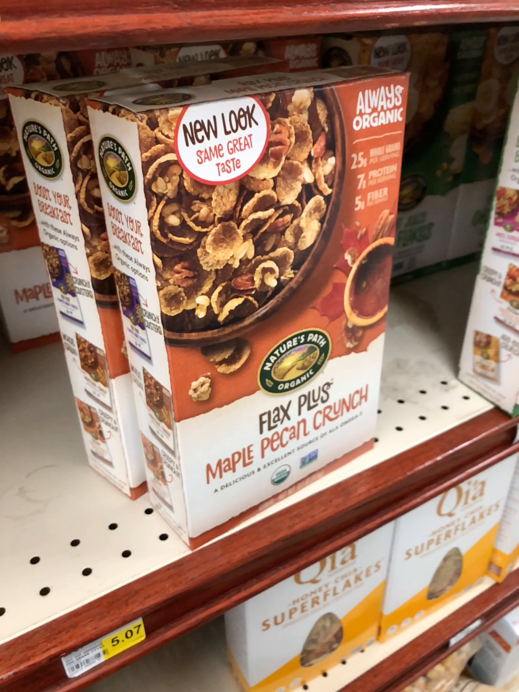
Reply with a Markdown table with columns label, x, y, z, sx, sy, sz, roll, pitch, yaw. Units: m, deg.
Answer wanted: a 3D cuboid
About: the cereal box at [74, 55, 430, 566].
| label | x | y | z | sx | sy | sz | roll | pitch | yaw |
| --- | --- | --- | --- | --- | --- | --- | --- | --- | --- |
| cereal box | 0.005 | -0.017 | 0.339 | 0.160 | 0.259 | 0.060 | -22 | 37 | -29 |
